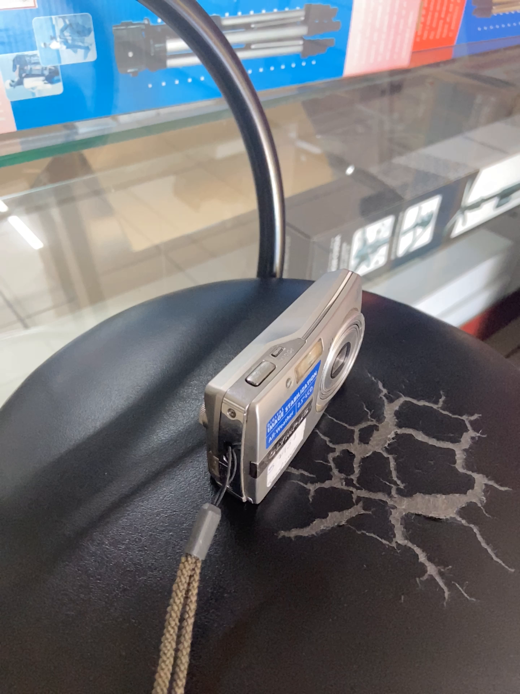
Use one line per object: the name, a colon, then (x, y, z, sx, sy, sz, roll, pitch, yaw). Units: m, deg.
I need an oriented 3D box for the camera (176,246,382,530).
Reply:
camera: (0.011, 0.012, 0.218, 0.030, 0.060, 0.101, 23, 45, 21)
